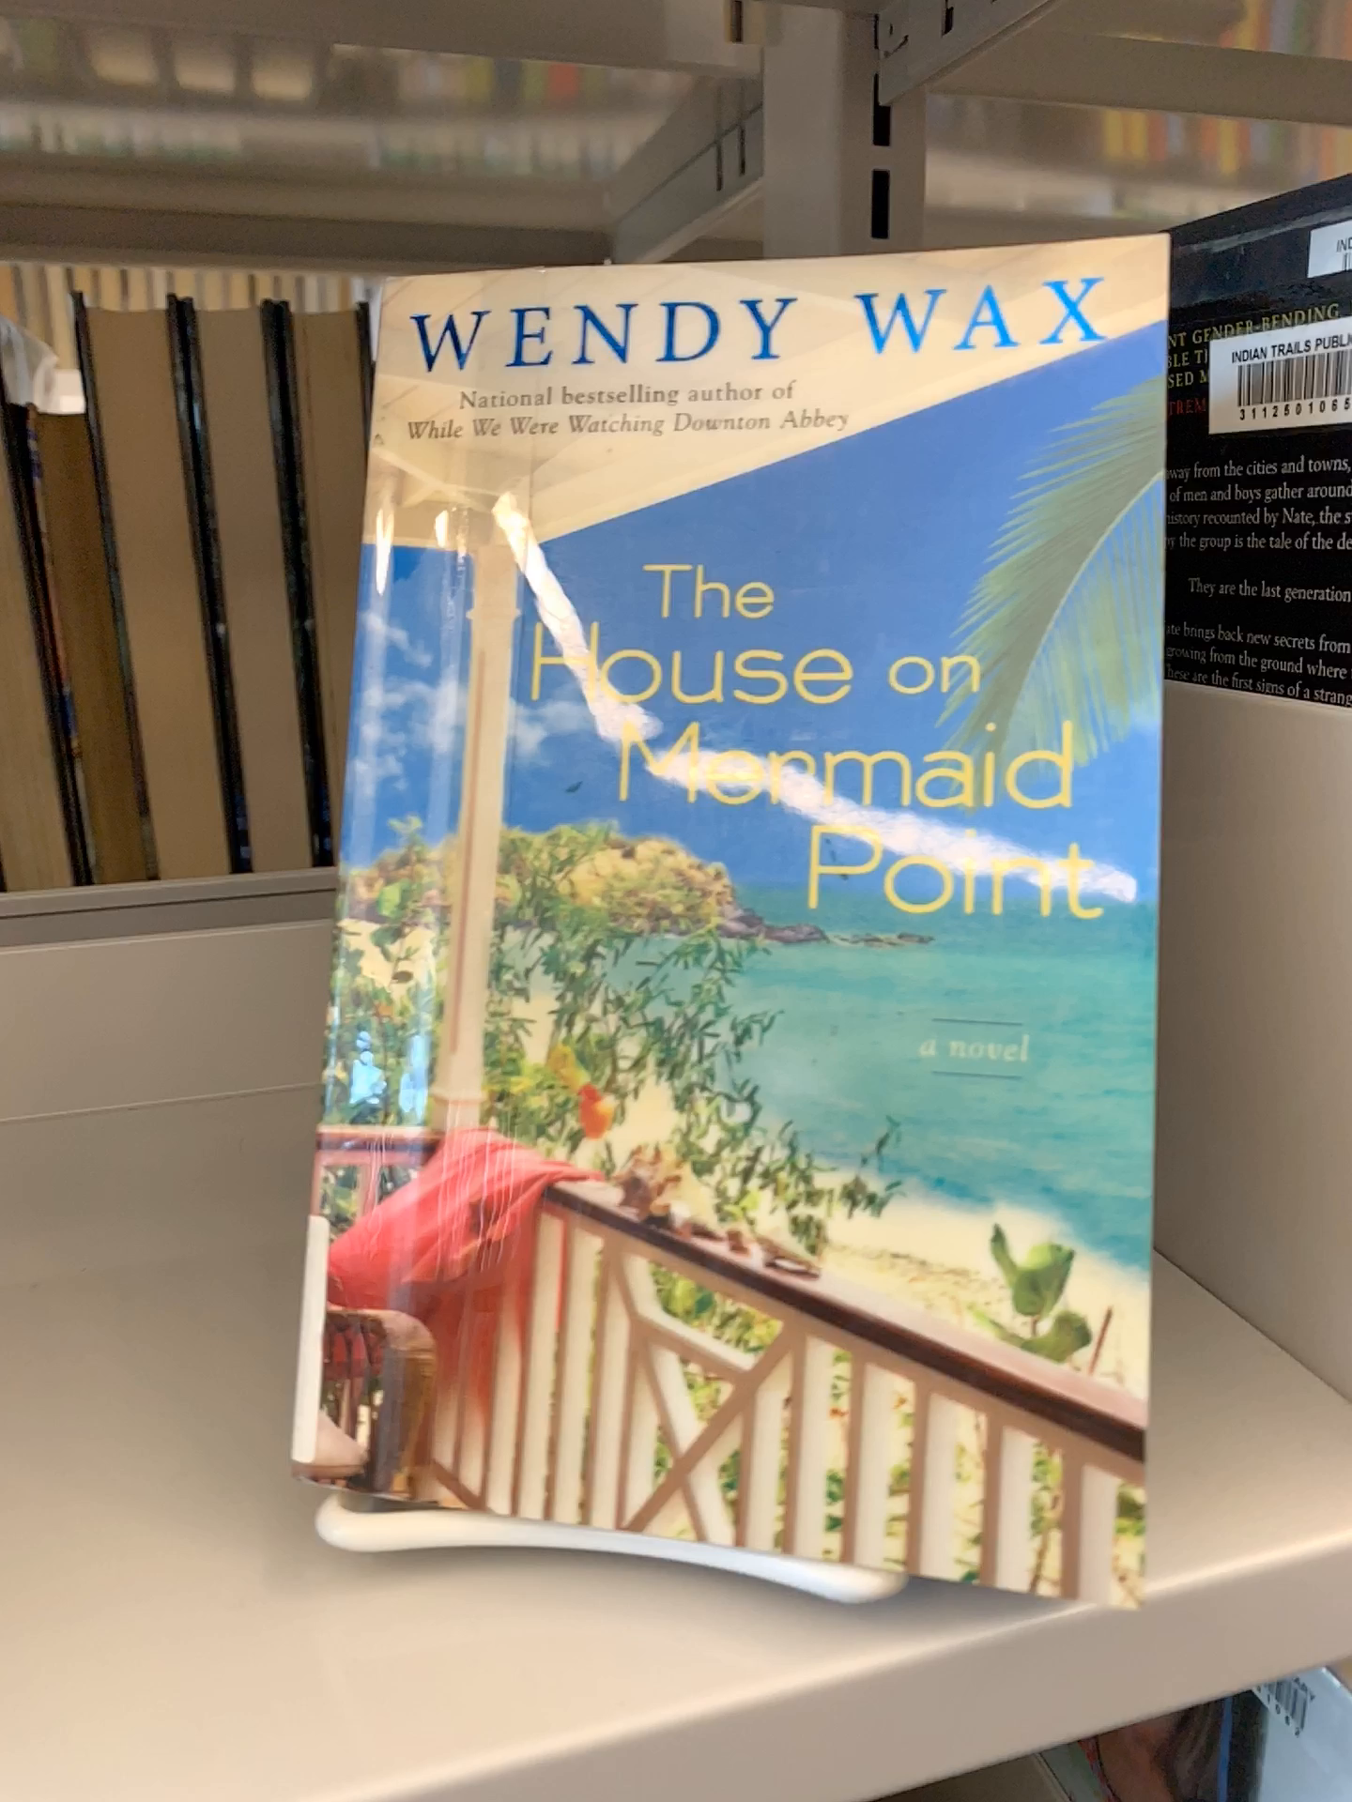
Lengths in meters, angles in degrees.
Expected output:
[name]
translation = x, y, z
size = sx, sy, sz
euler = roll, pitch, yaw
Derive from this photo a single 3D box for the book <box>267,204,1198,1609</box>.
[book]
translation = 0.011, -0.004, 0.227
size = 0.131, 0.193, 0.043
euler = 2, -5, 13
